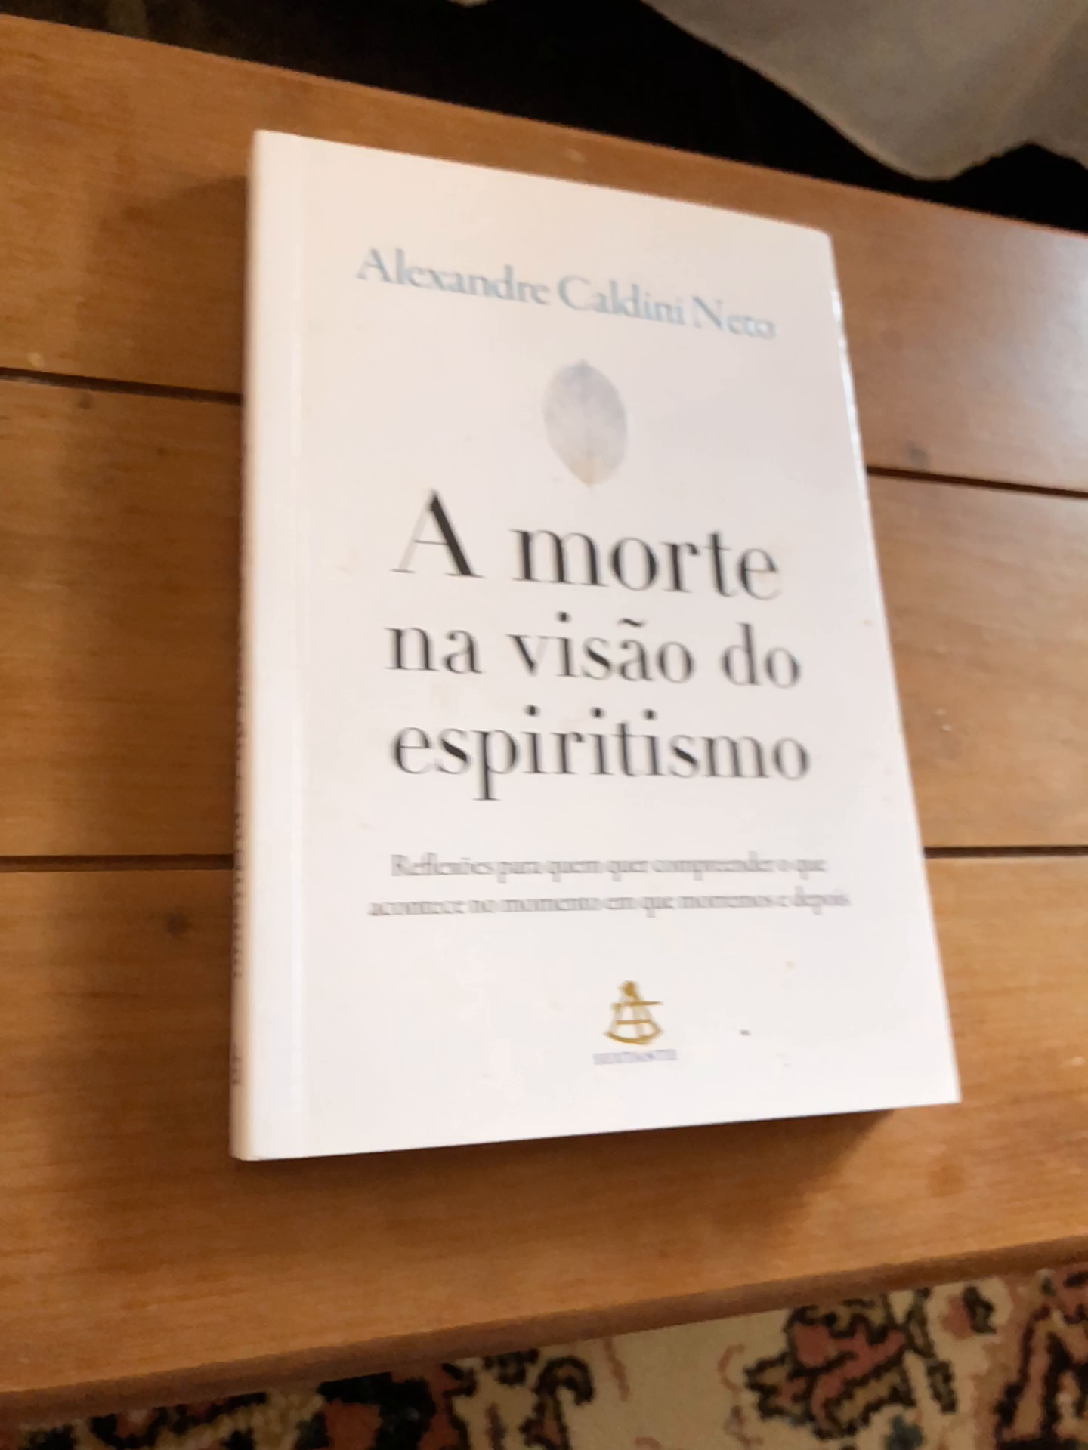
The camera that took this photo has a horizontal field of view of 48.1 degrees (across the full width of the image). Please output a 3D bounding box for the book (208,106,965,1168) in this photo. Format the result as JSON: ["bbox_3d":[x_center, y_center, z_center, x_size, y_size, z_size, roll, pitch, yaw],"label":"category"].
[{"bbox_3d":[0.006,-0.022,0.243,0.136,0.020,0.196,2,73,-18],"label":"book"}]
